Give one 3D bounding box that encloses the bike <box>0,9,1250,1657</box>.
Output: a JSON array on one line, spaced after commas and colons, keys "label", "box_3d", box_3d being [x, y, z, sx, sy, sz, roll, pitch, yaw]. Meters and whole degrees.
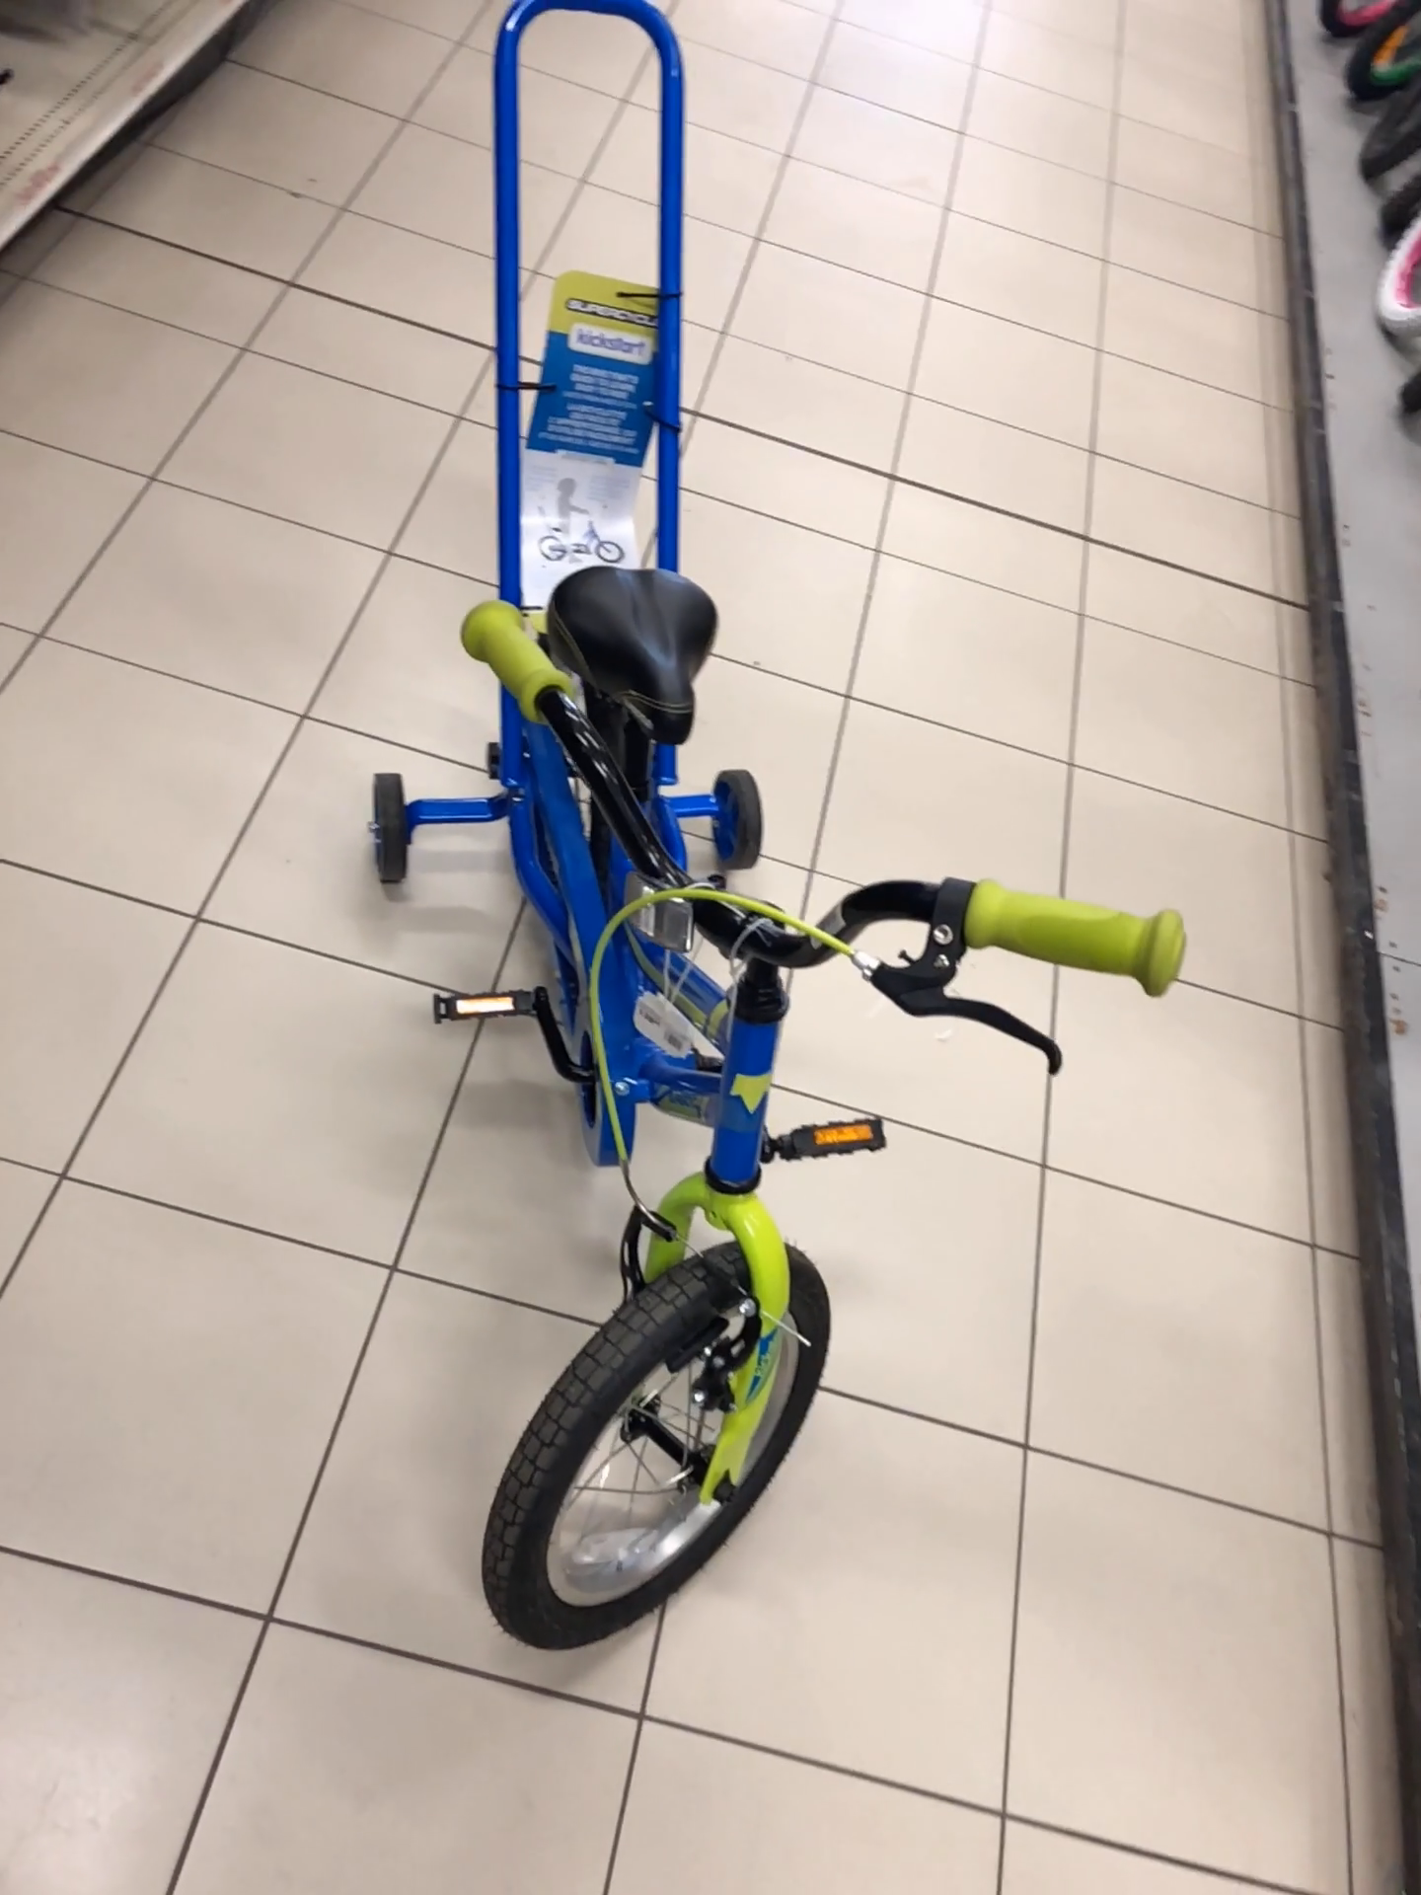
[{"label": "bike", "box_3d": [-0.126, -0.076, 1.179, 0.538, 0.763, 0.957, 7, 51, -11]}]
